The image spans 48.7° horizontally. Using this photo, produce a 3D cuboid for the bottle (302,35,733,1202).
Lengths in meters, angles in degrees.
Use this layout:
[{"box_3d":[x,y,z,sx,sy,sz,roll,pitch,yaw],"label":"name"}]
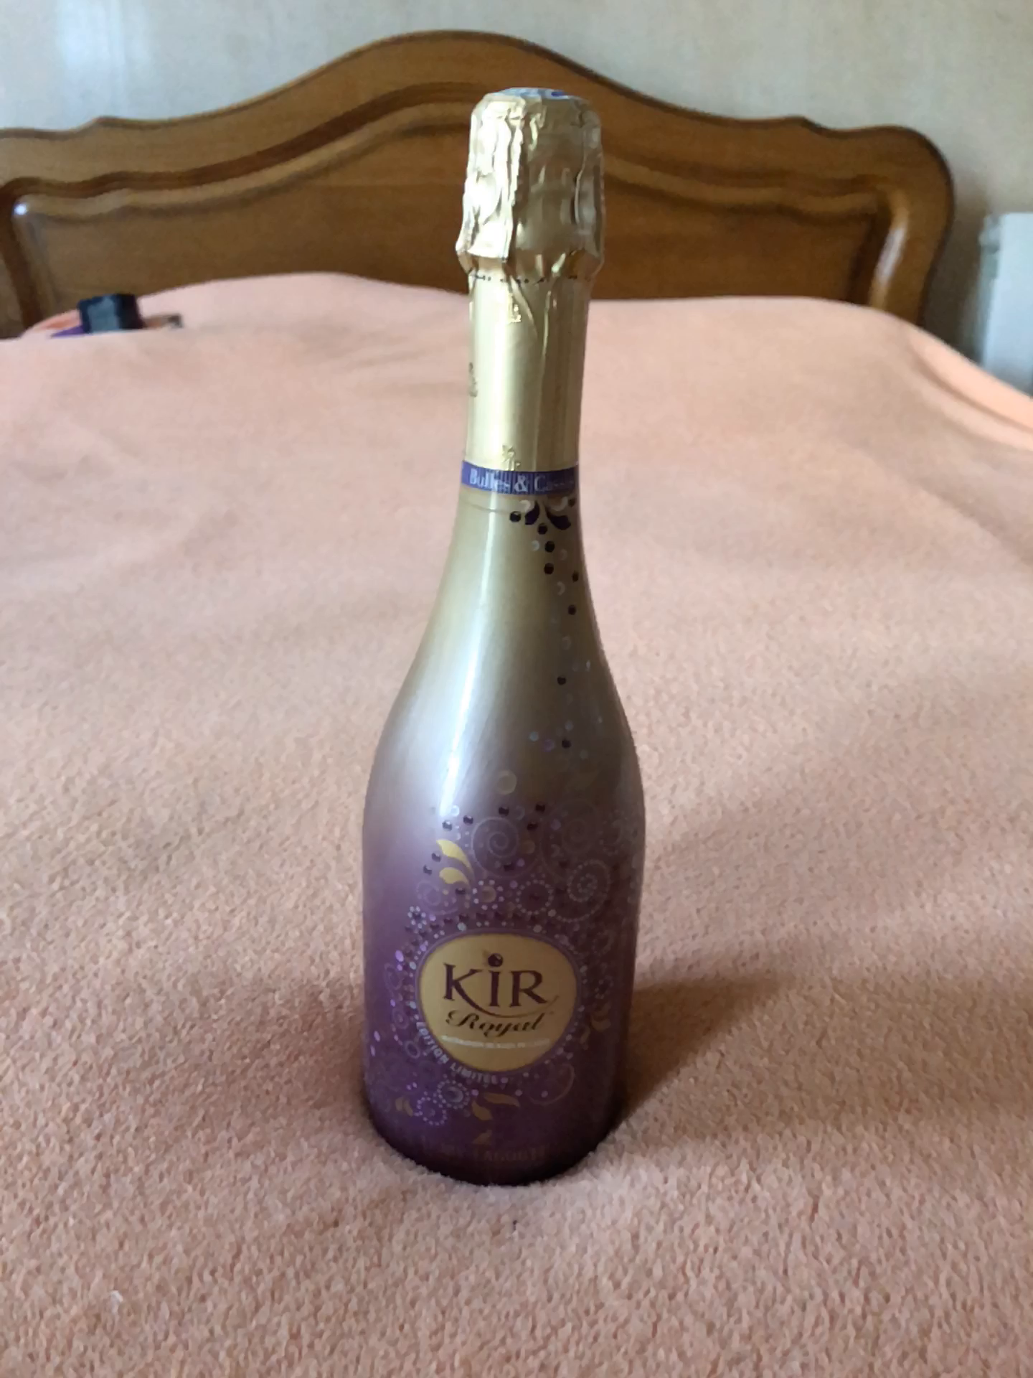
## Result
[{"box_3d":[-0.001,-0.007,0.335,0.090,0.308,0.090,1,21,-1],"label":"bottle"}]
